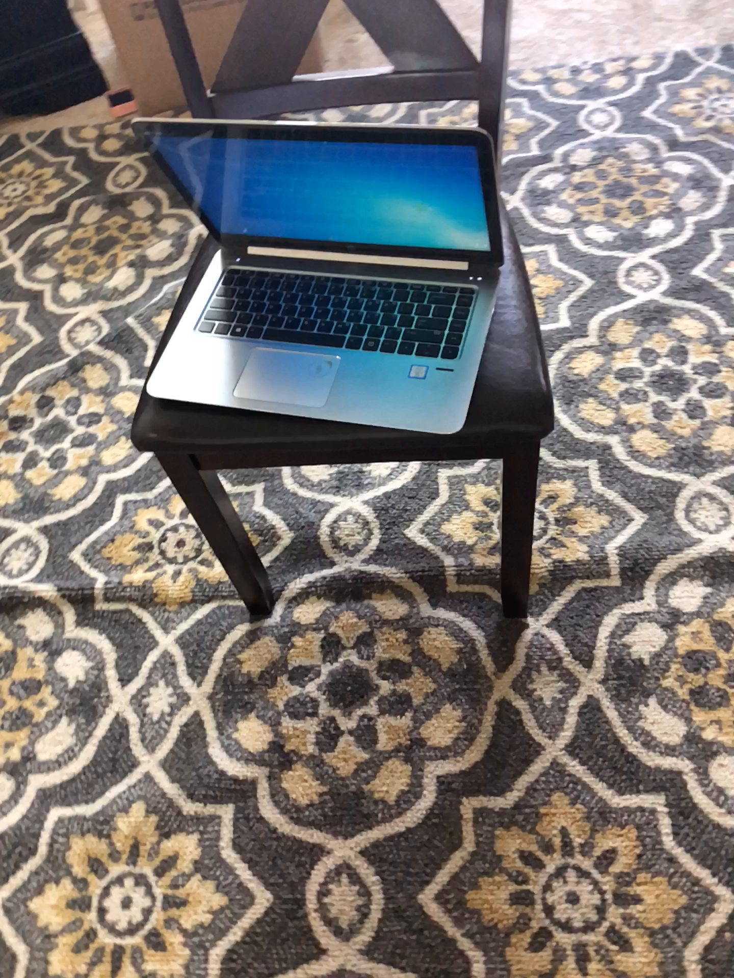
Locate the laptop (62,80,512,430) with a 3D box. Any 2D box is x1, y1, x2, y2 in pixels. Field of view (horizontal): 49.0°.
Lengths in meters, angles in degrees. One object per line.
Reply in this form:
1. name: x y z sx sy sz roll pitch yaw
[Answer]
1. laptop: -0.051 -0.219 0.743 0.323 0.194 0.212 9 58 14
